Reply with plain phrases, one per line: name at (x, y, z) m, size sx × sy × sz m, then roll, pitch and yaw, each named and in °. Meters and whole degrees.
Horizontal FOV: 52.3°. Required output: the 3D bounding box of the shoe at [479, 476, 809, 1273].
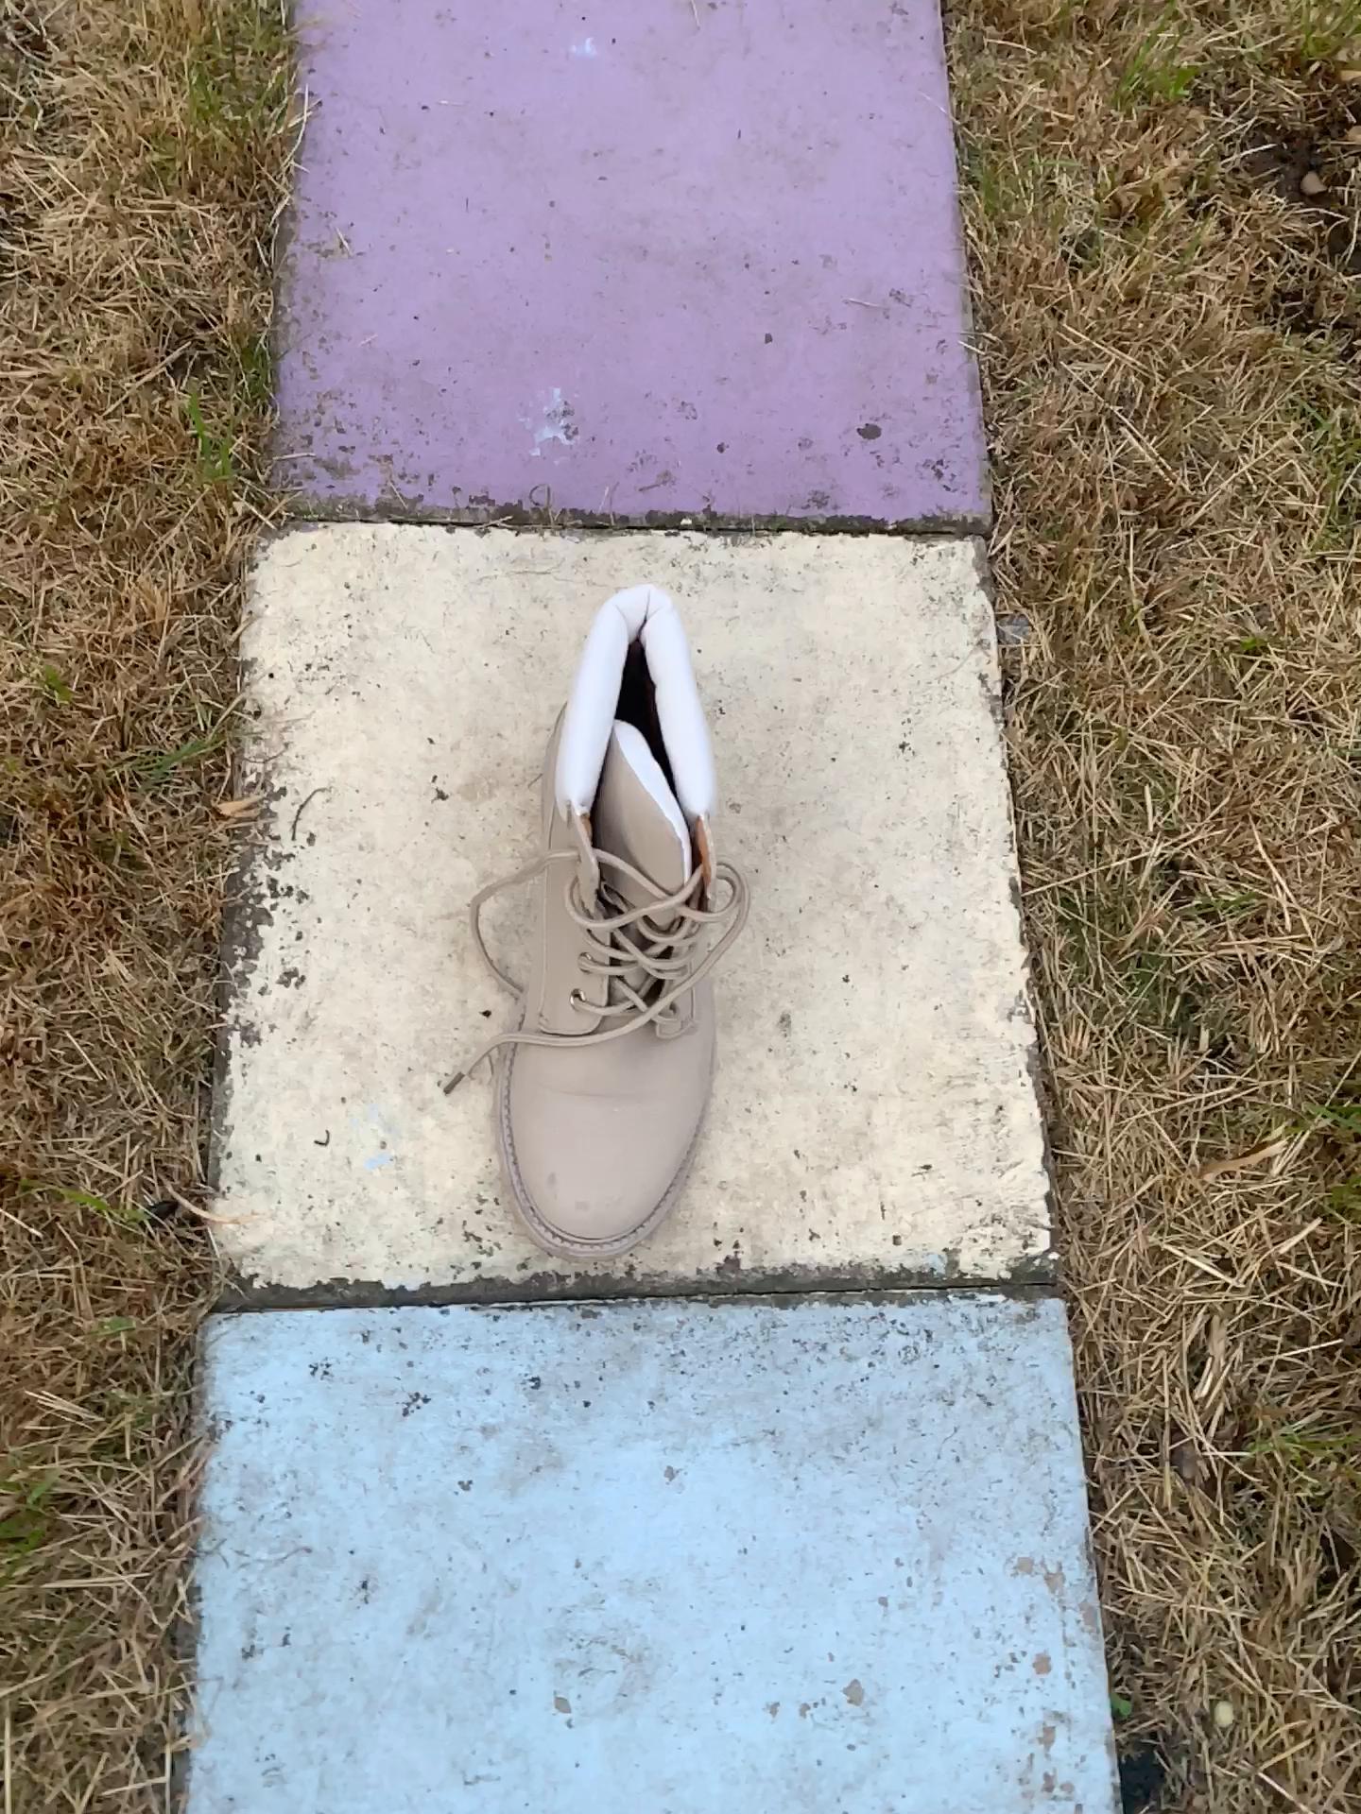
shoe at (-0.019, 0.002, 0.585) m, size 0.100 × 0.199 × 0.281 m, roll 5°, pitch 72°, yaw -6°
